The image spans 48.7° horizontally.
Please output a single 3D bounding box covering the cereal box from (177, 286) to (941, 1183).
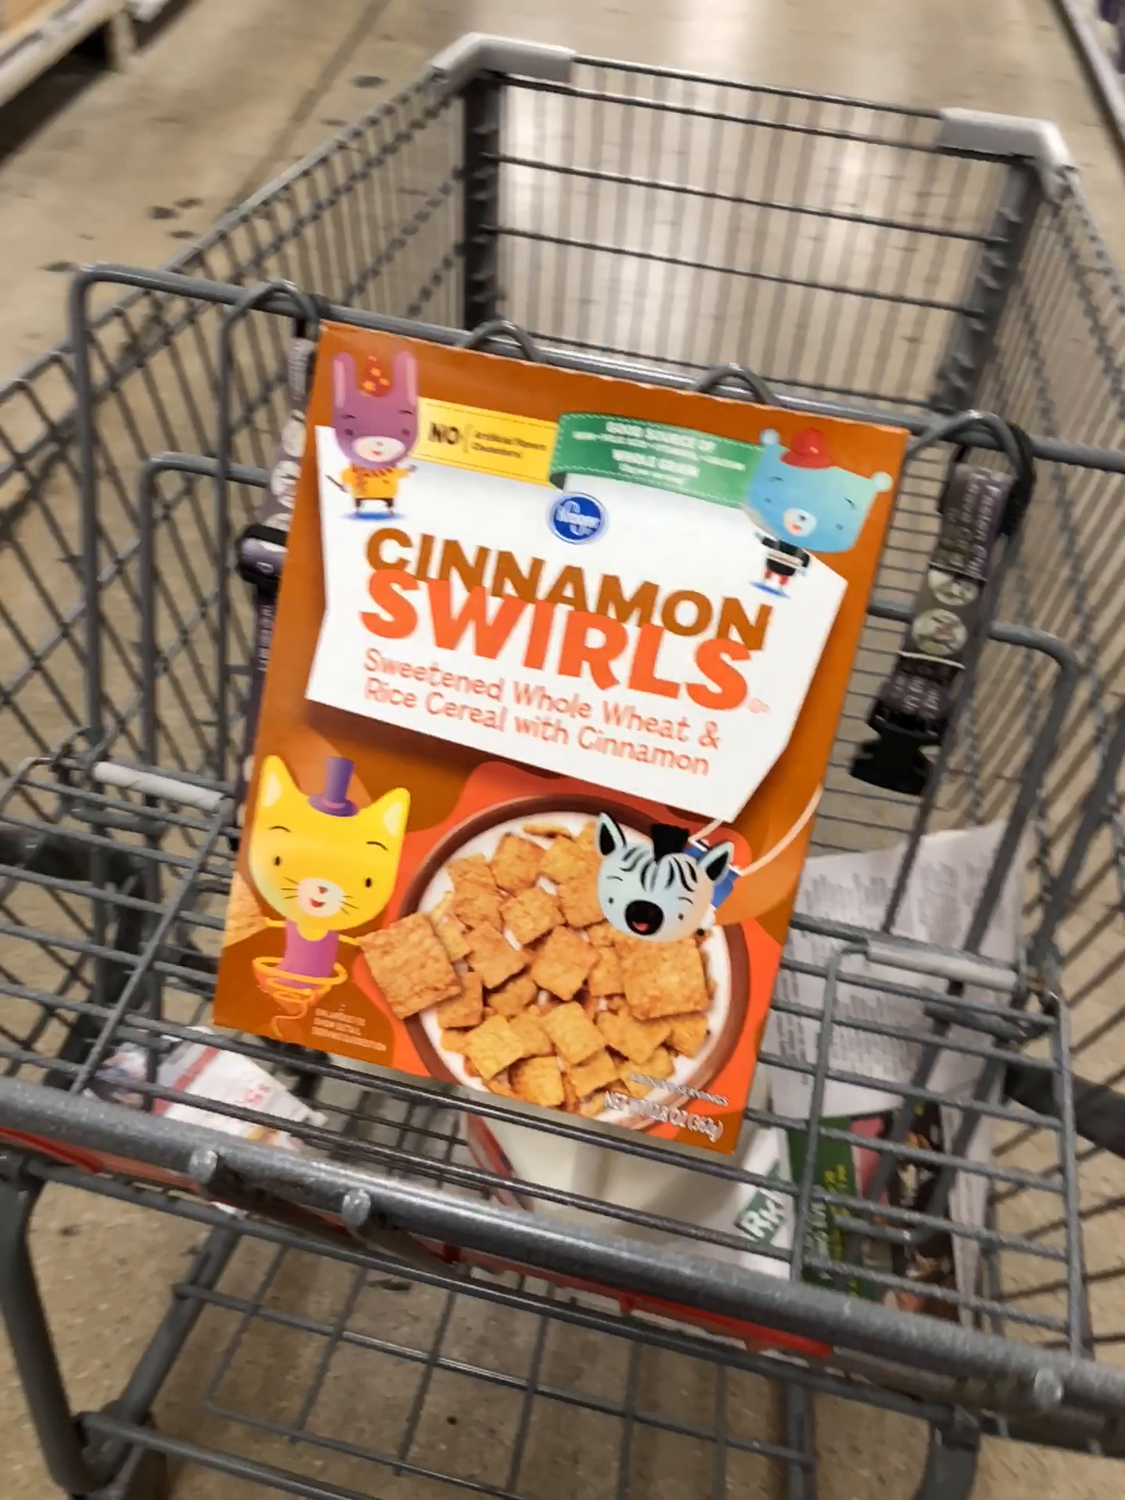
[{"bbox_3d":[-0.008,-0.006,0.435,0.210,0.260,0.050,12,10,7],"label":"cereal box"}]
